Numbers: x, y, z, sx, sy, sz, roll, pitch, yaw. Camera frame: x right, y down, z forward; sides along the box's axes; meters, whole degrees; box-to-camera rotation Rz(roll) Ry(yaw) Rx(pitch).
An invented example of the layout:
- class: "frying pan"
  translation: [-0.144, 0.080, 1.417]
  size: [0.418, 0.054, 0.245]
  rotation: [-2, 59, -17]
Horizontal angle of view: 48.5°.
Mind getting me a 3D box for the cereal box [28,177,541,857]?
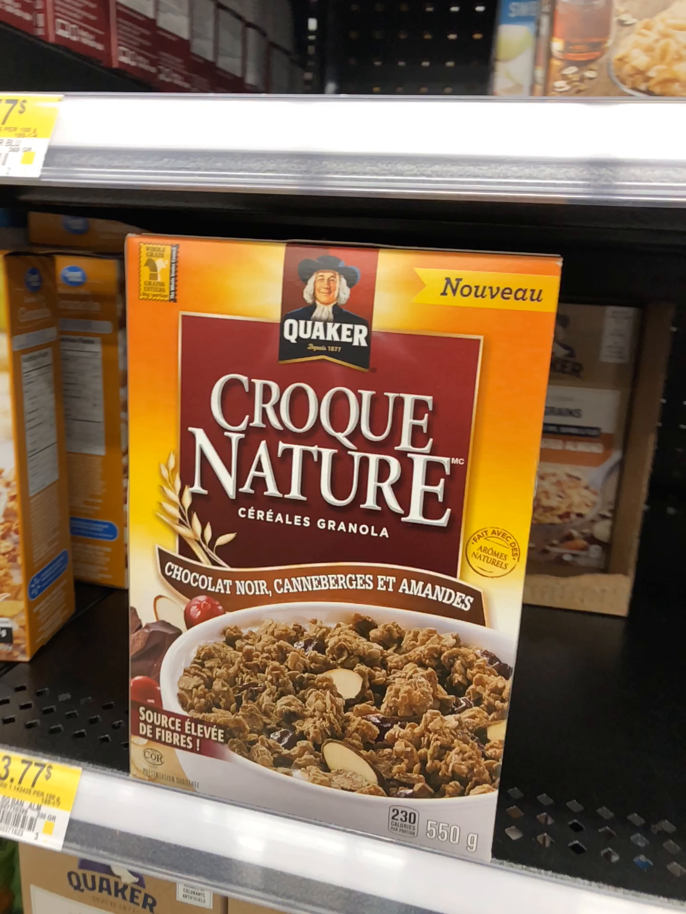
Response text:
- class: "cereal box"
  translation: [-0.025, 0.018, 0.292]
  size: [0.170, 0.229, 0.050]
  rotation: [7, 15, 15]
